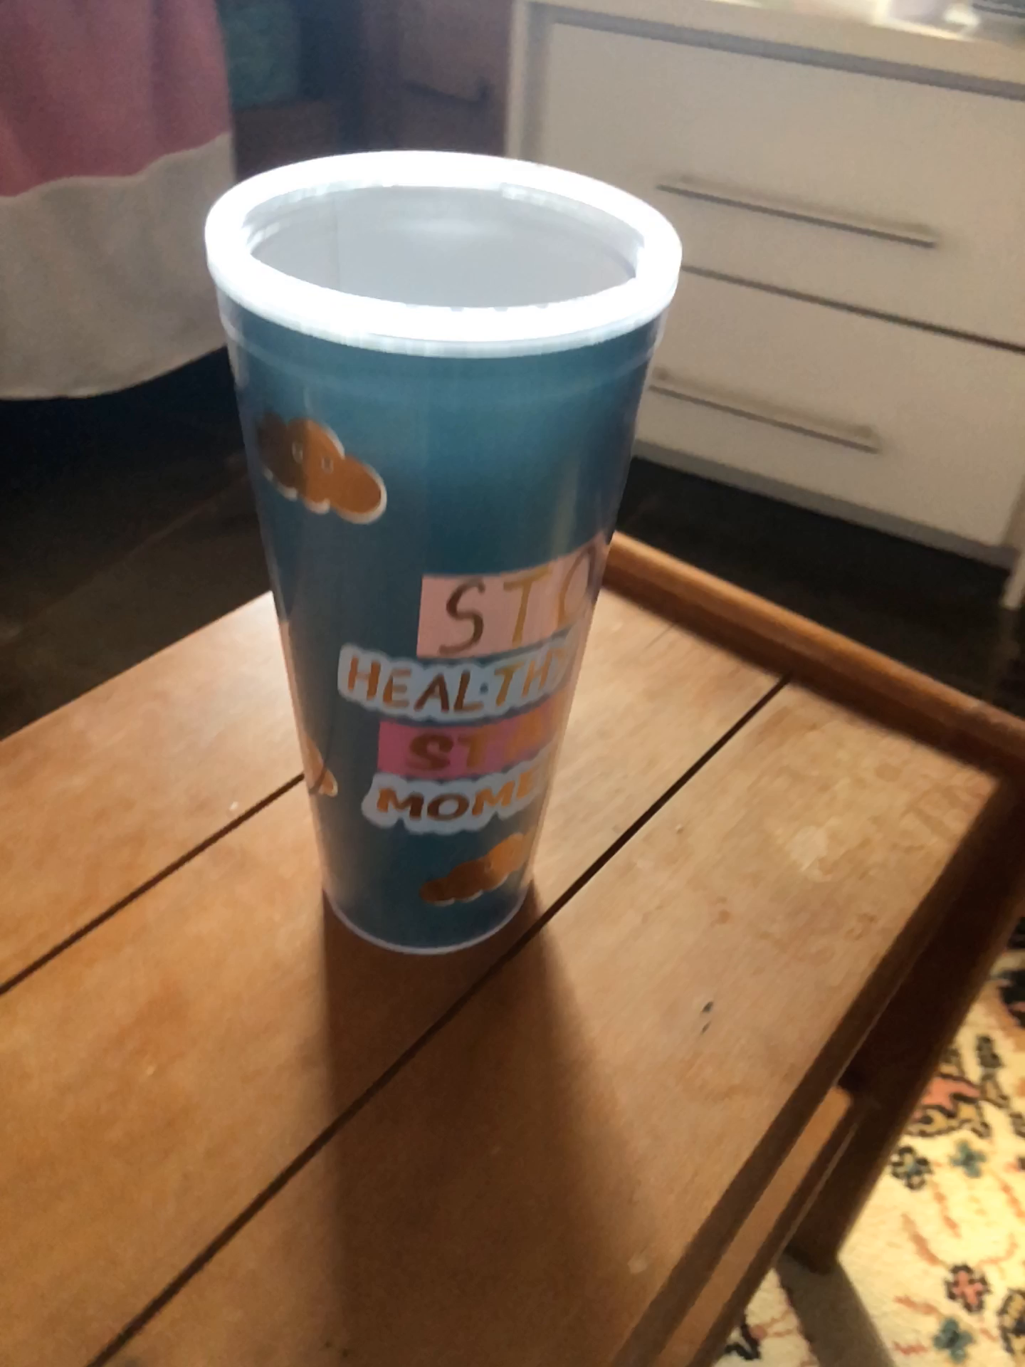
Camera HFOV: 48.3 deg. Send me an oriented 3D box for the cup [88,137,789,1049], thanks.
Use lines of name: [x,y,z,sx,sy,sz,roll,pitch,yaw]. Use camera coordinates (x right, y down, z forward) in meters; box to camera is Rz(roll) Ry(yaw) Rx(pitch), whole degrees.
cup: [-0.021,-0.022,0.286,0.101,0.179,0.100,3,39,-3]
